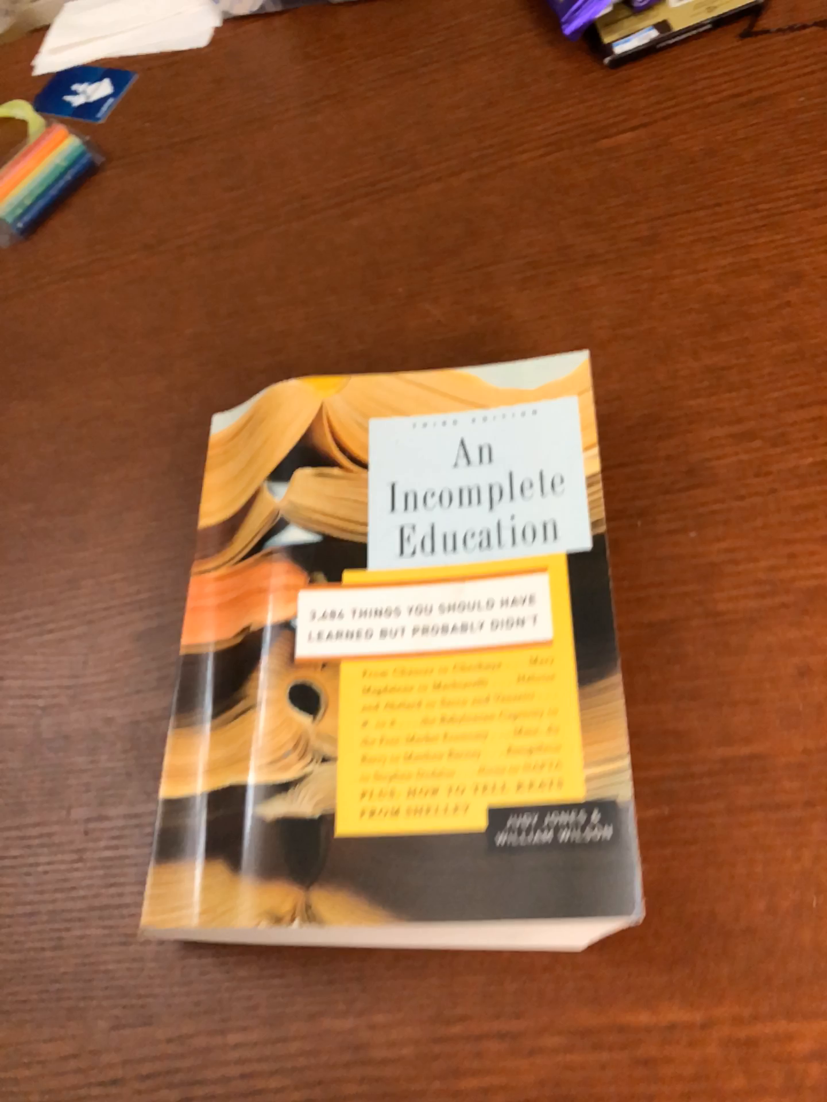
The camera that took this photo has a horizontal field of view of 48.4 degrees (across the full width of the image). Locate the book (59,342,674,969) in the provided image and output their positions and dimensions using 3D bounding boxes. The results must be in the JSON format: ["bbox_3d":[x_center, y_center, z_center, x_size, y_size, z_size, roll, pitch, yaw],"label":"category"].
[{"bbox_3d":[-0.018,0.038,0.394,0.210,0.060,0.251,-4,62,7],"label":"book"}]
